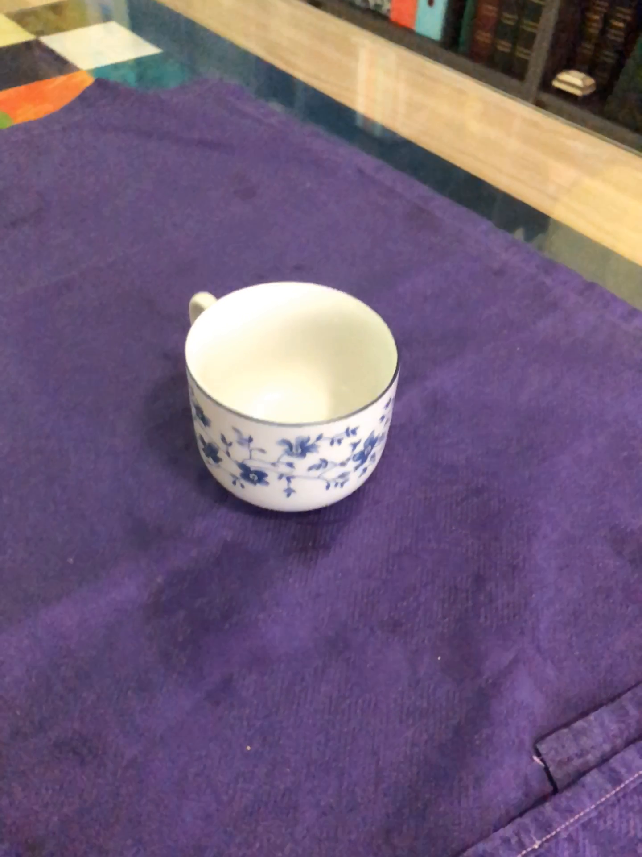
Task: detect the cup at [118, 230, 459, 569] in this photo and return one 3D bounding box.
[{"bbox_3d":[-0.014,-0.016,0.273,0.070,0.060,0.100,-34,57,-29],"label":"cup"}]
